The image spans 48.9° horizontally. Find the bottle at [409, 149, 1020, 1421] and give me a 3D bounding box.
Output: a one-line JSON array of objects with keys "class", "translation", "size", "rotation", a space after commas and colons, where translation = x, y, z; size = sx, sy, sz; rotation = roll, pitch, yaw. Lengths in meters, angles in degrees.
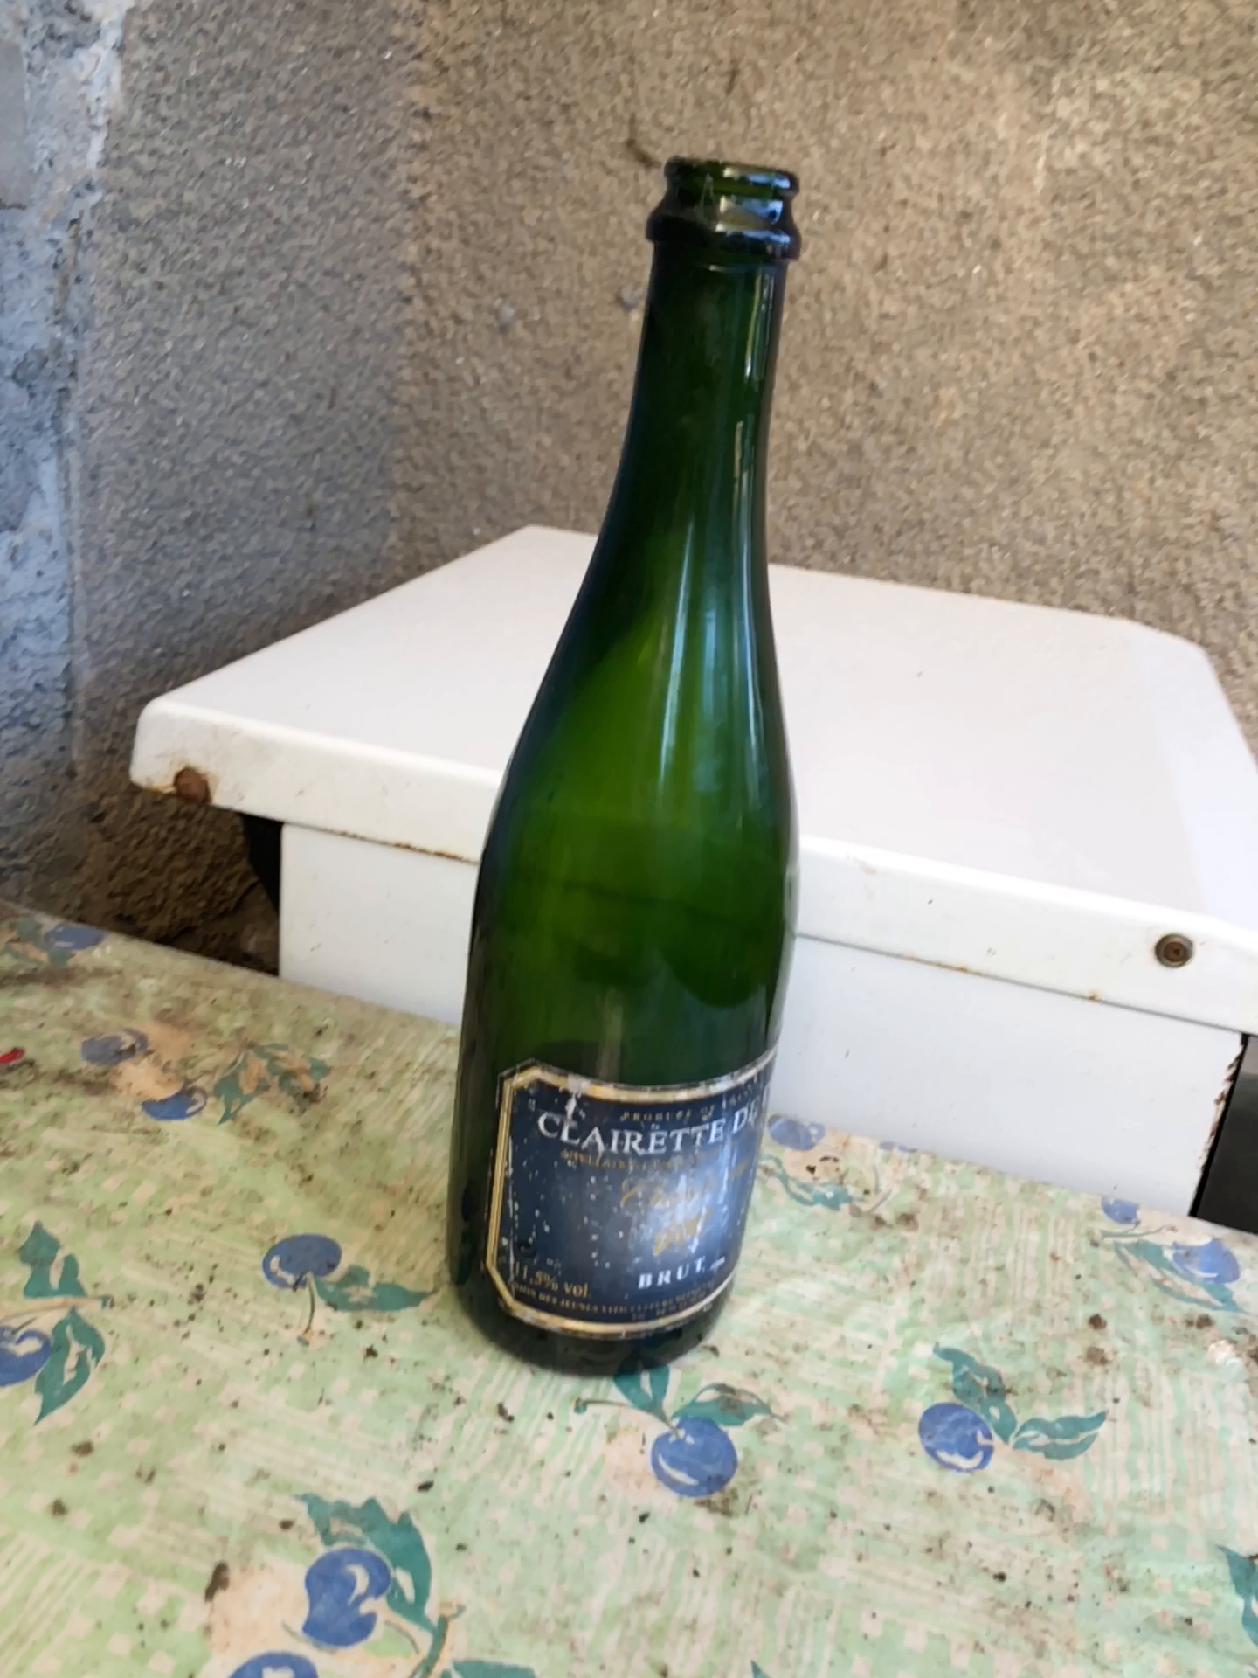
[{"class": "bottle", "translation": [0.006, -0.003, 0.363], "size": [0.090, 0.308, 0.080], "rotation": [-3, 25, -23]}]
